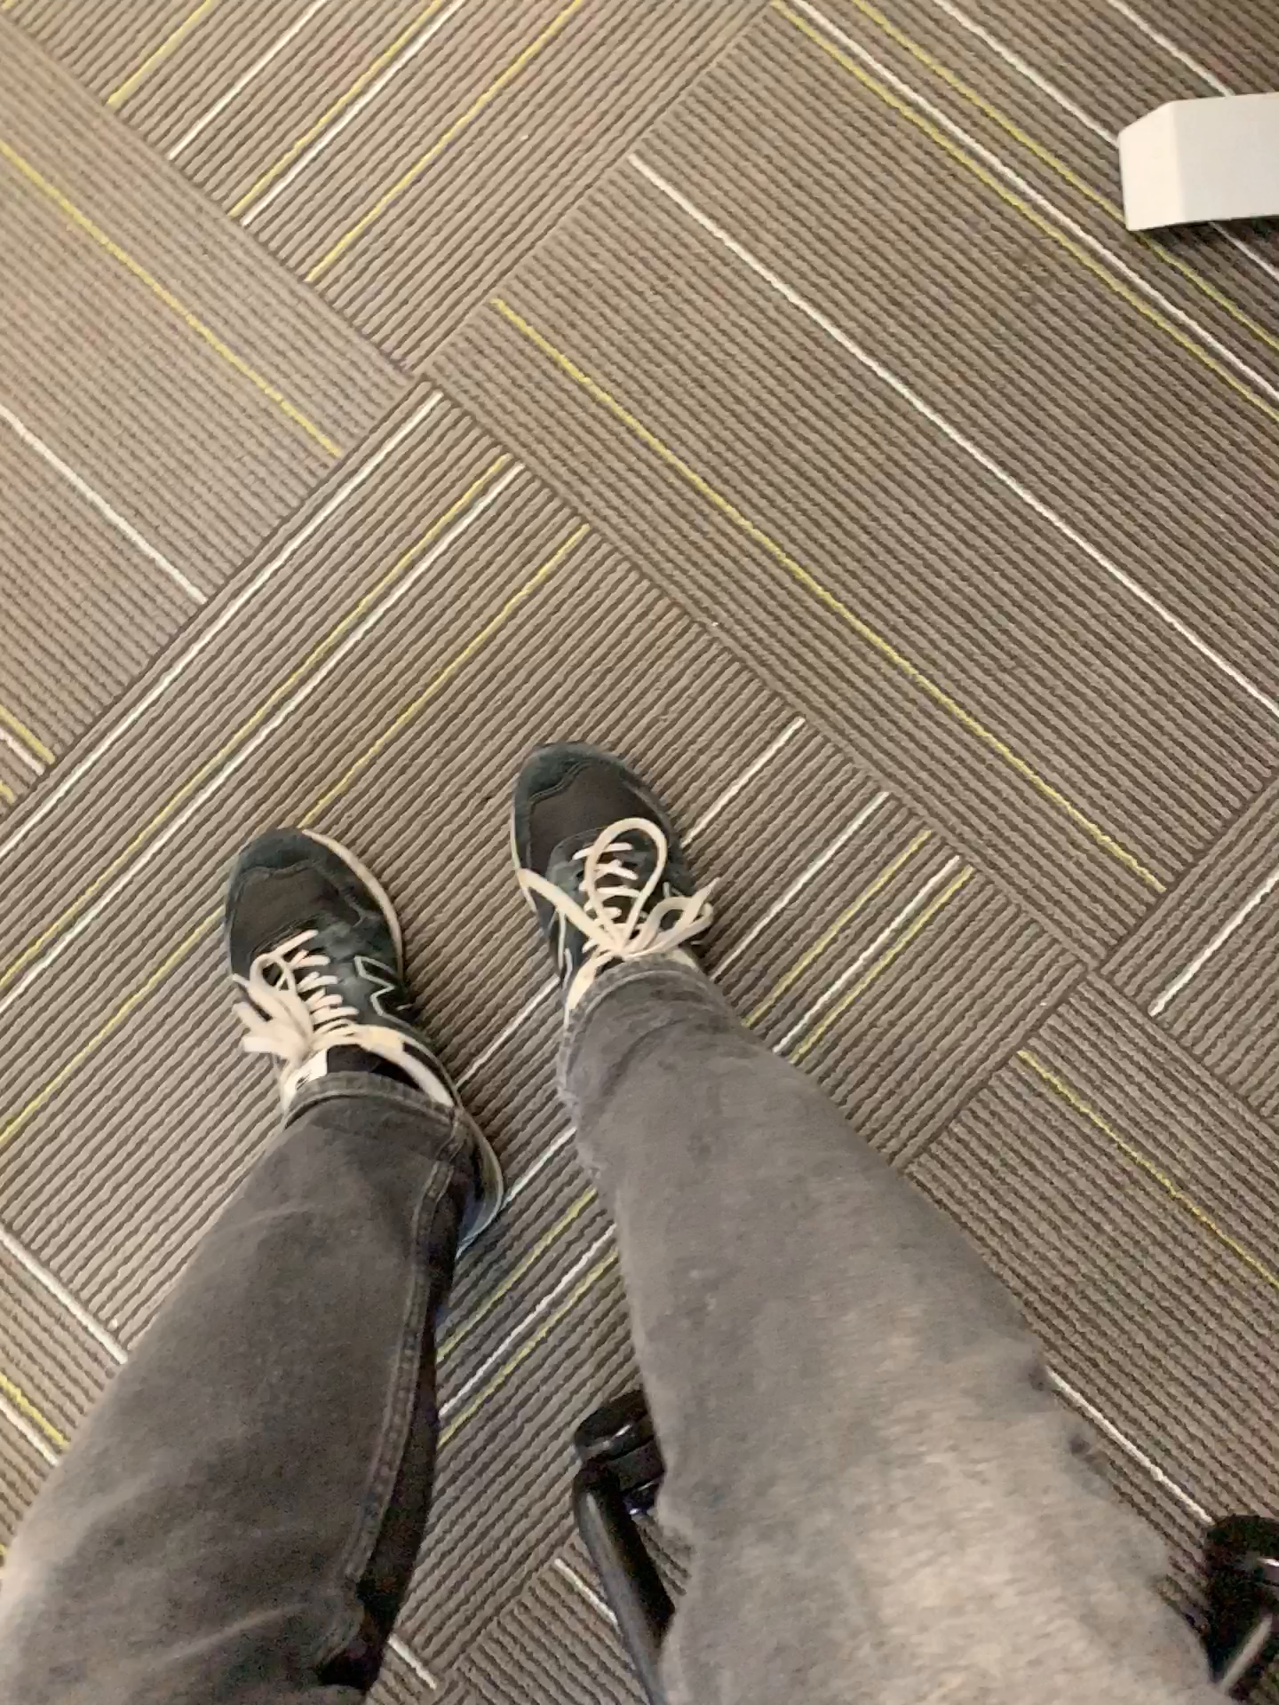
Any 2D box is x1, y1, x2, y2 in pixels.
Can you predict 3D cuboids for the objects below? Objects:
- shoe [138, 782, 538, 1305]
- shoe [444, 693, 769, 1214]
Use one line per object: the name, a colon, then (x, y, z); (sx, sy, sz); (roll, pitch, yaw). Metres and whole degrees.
shoe: (-0.190, 0.117, 0.834); (0.121, 0.071, 0.295); (-28, 84, 1)
shoe: (-0.020, 0.062, 0.829); (0.119, 0.071, 0.294); (-17, 84, 2)
